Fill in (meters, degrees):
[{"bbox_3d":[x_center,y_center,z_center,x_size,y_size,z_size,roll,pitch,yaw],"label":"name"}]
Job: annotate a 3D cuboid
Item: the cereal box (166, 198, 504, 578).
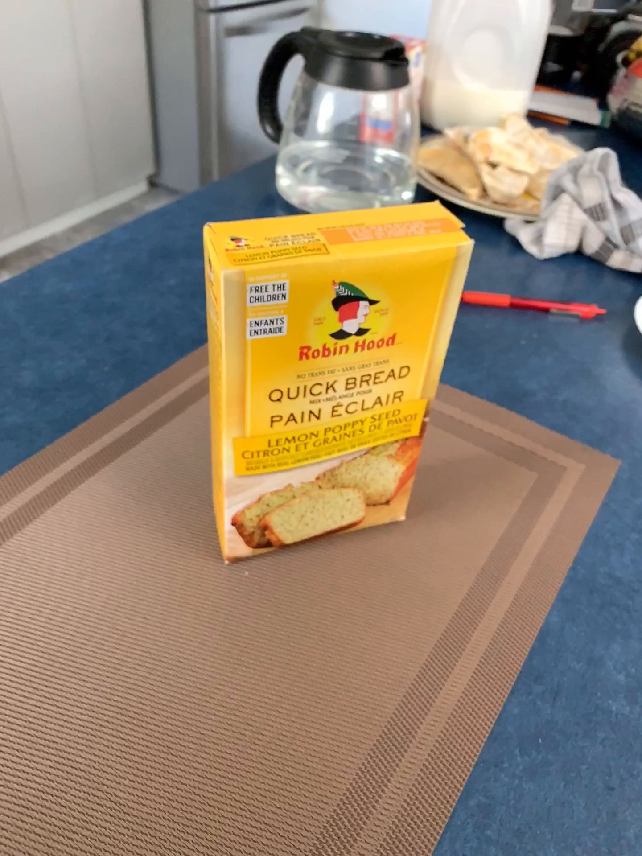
[{"bbox_3d":[0.000,-0.012,0.326,0.130,0.178,0.040,-10,43,-17],"label":"cereal box"}]
